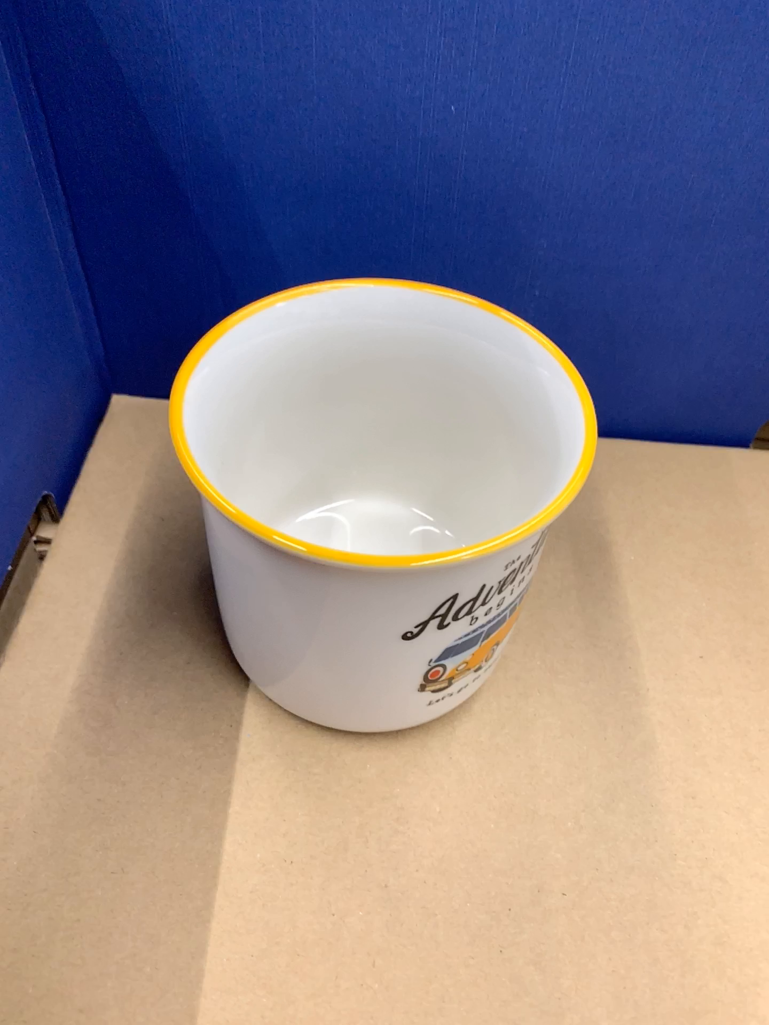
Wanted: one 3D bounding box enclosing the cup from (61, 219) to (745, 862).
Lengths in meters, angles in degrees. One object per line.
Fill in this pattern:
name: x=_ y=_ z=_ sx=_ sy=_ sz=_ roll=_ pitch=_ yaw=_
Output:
cup: x=0.005 y=-0.002 z=0.216 sx=0.124 sy=0.083 sz=0.102 roll=-33 pitch=57 yaw=-29
